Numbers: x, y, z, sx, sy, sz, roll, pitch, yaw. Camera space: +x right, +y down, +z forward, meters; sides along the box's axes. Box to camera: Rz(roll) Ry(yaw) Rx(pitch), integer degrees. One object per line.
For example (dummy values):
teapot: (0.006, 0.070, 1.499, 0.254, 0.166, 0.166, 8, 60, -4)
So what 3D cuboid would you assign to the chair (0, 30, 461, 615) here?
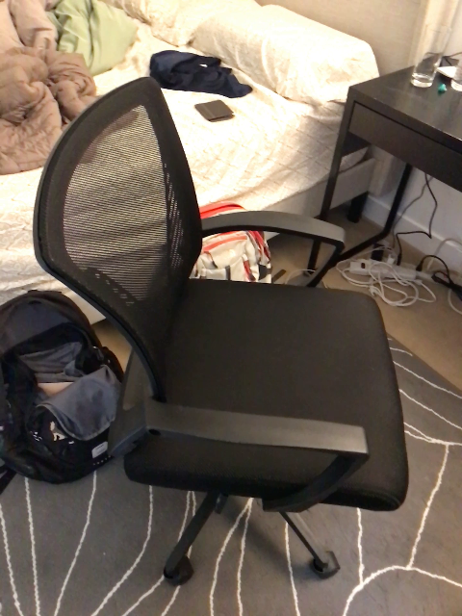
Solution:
chair: (0.091, 0.070, 0.920, 0.580, 0.834, 0.625, 0, 46, 10)
